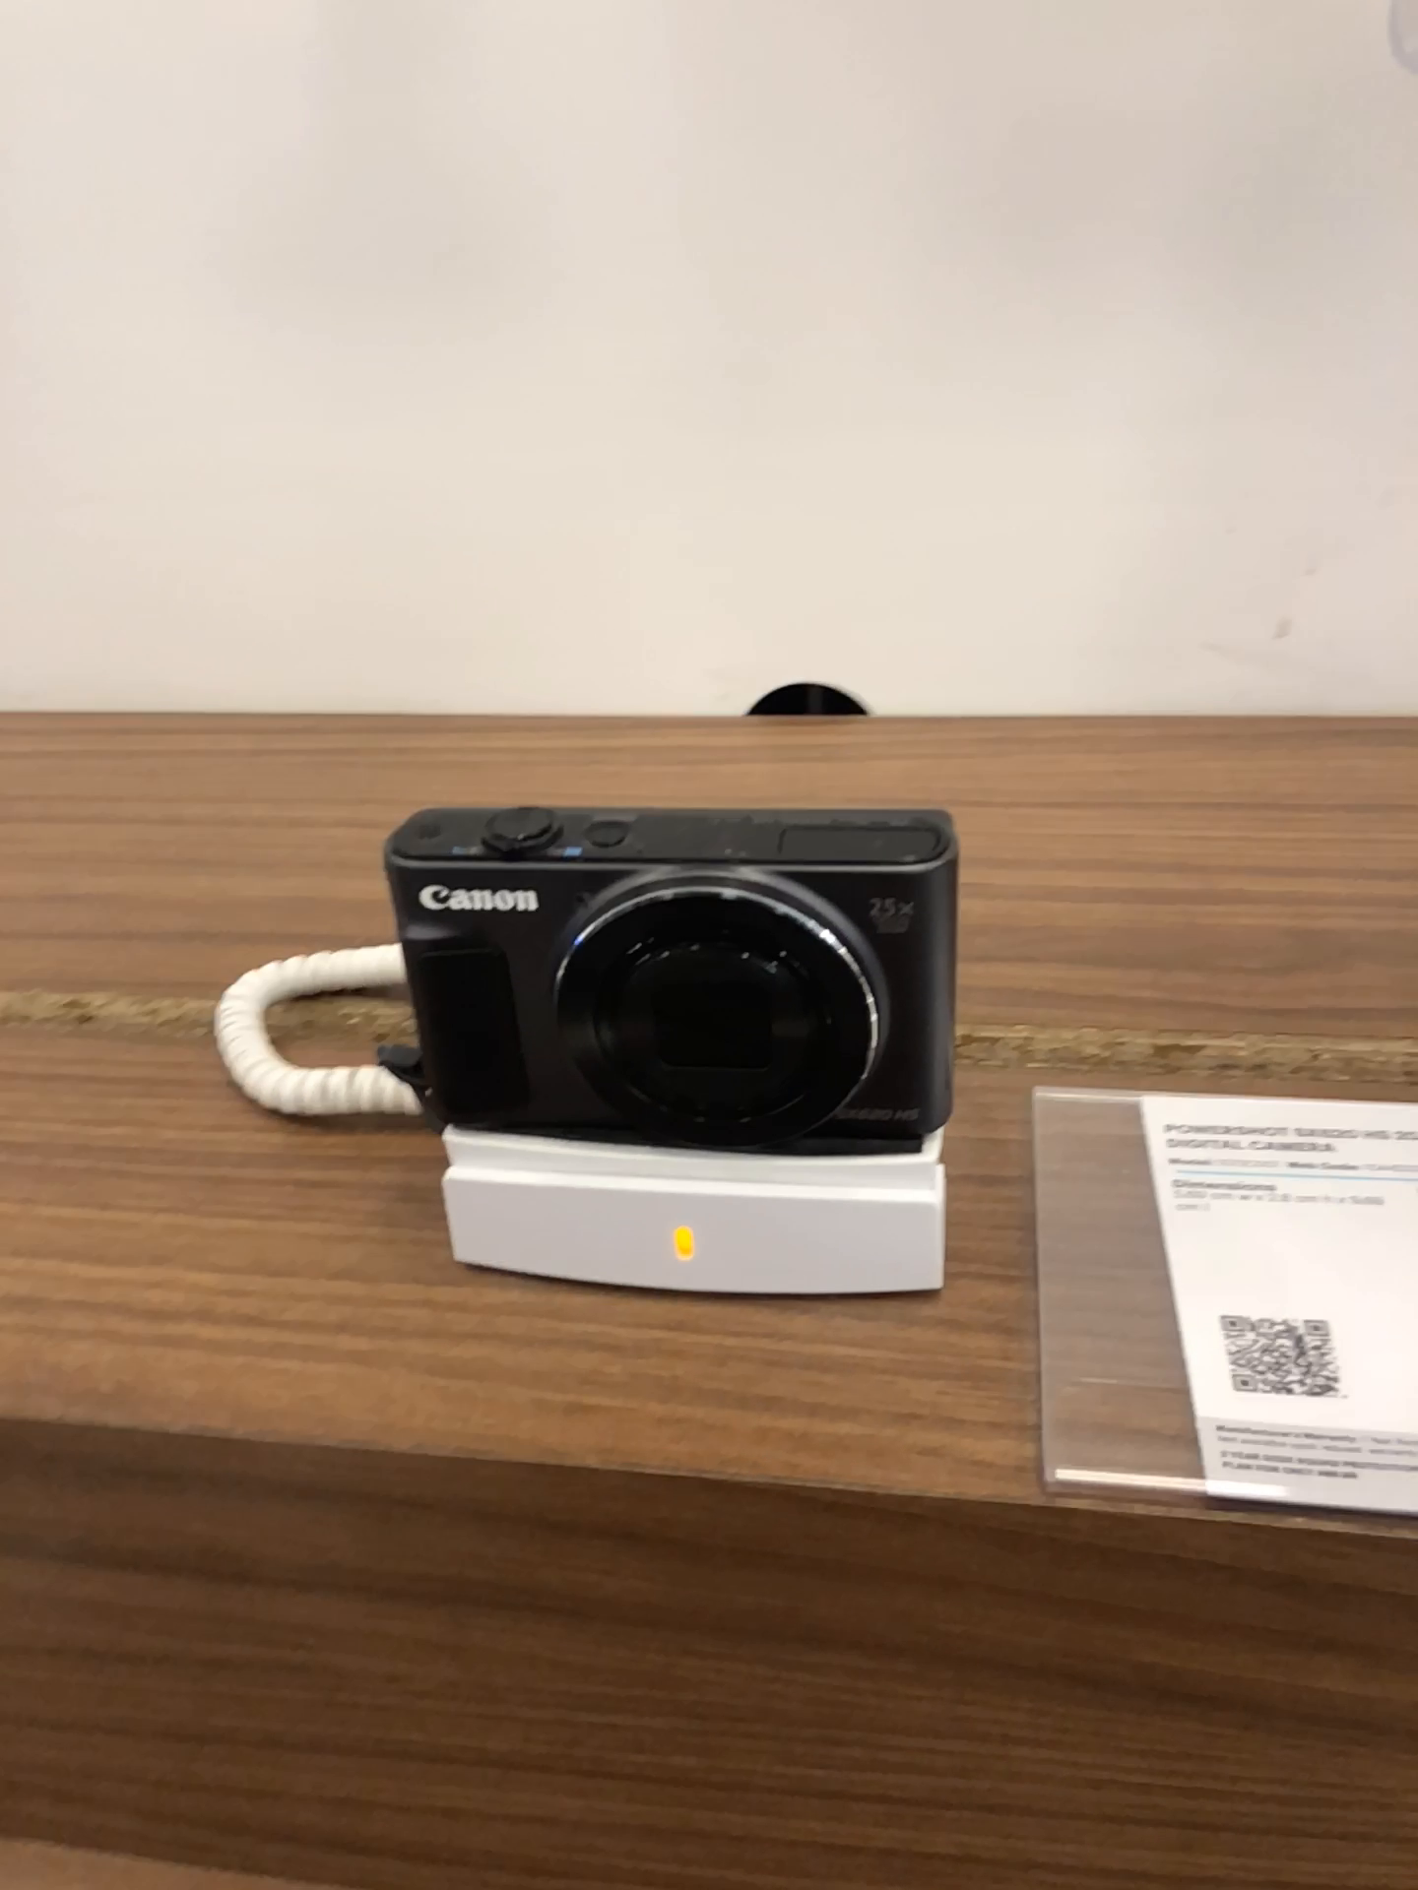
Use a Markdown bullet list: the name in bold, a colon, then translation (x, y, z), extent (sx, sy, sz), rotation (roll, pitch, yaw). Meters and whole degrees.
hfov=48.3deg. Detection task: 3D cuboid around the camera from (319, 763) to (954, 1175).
- **camera**: translation (-0.009, 0.003, 0.273), extent (0.100, 0.060, 0.030), rotation (2, 31, 11)
